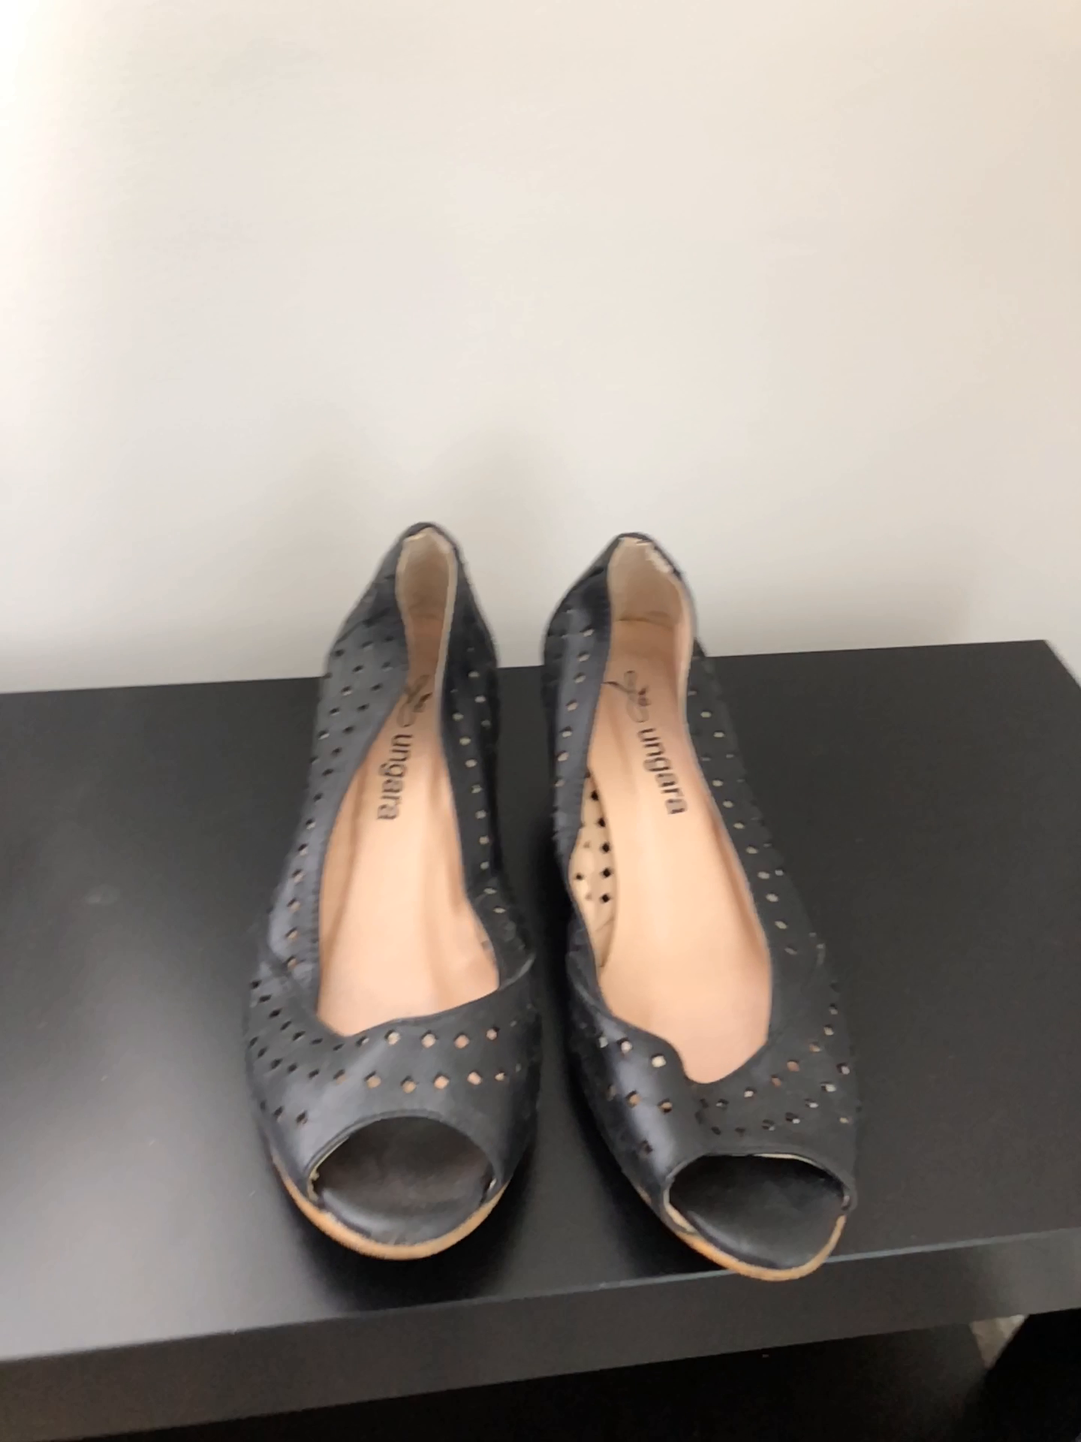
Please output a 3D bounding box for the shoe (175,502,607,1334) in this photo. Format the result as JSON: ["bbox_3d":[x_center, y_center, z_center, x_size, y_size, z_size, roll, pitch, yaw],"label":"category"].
[{"bbox_3d":[-0.046,0.037,0.356,0.085,0.100,0.231,-2,40,-7],"label":"shoe"}]

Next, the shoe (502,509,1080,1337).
[{"bbox_3d":[0.047,0.039,0.349,0.085,0.100,0.221,-3,40,-9],"label":"shoe"}]
